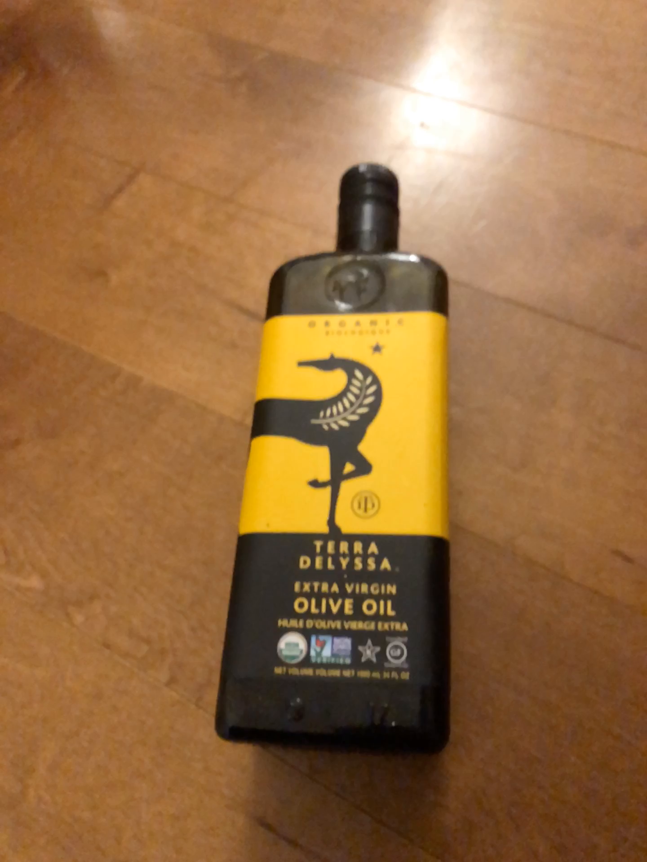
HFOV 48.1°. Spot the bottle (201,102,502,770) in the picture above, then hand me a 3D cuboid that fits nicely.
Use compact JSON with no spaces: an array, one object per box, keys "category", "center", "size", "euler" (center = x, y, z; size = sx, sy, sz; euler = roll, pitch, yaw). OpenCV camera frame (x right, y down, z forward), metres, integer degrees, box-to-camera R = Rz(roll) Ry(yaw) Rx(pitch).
[{"category":"bottle","center":[0.017,-0.011,0.300],"size":[0.090,0.060,0.271],"euler":[-1,65,8]}]
